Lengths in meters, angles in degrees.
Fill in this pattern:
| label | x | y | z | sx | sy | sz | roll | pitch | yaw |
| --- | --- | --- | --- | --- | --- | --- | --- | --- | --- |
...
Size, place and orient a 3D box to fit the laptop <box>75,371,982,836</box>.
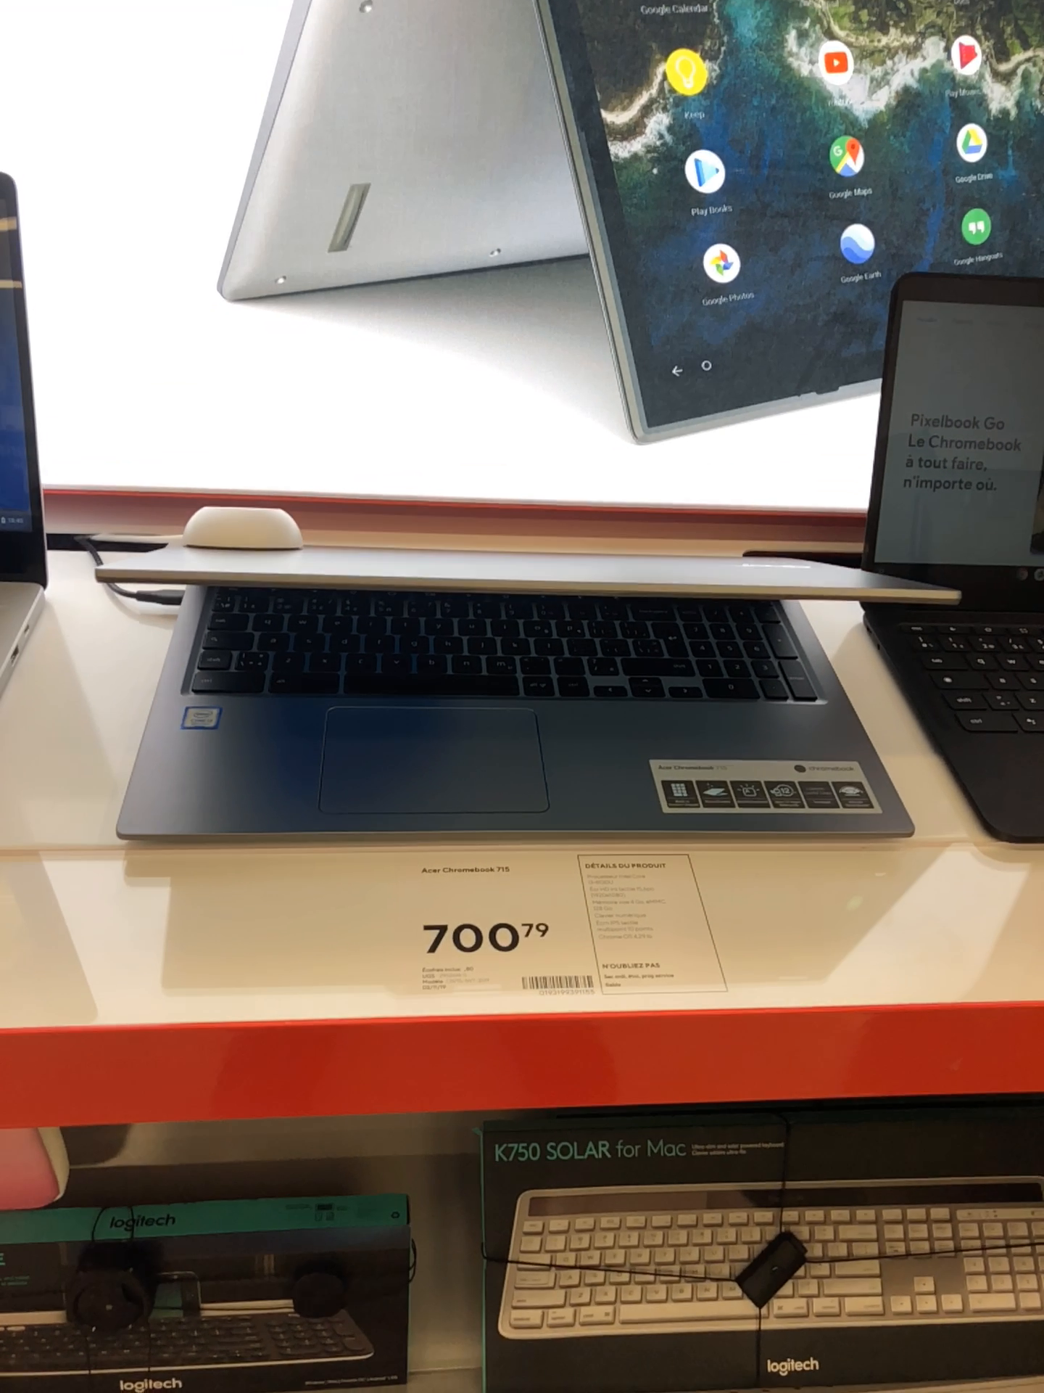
| label | x | y | z | sx | sy | sz | roll | pitch | yaw |
| --- | --- | --- | --- | --- | --- | --- | --- | --- | --- |
| laptop | 0.000 | -0.058 | 0.587 | 0.368 | 0.109 | 0.245 | 1 | 37 | -9 |
